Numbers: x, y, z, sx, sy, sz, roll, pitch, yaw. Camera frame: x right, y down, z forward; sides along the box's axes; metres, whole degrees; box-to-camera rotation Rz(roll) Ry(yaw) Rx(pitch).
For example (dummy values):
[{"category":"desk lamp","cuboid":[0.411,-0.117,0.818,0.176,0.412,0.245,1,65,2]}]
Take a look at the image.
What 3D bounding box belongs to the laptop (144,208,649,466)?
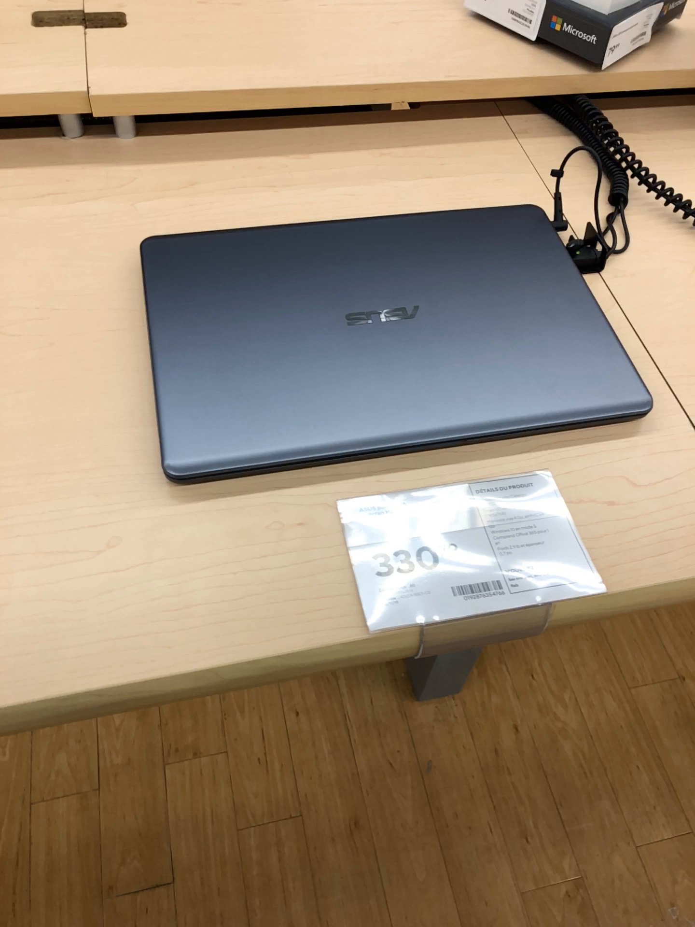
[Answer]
[{"category":"laptop","cuboid":[0.025,-0.105,0.546,0.318,0.001,0.211,-8,56,-10]}]
